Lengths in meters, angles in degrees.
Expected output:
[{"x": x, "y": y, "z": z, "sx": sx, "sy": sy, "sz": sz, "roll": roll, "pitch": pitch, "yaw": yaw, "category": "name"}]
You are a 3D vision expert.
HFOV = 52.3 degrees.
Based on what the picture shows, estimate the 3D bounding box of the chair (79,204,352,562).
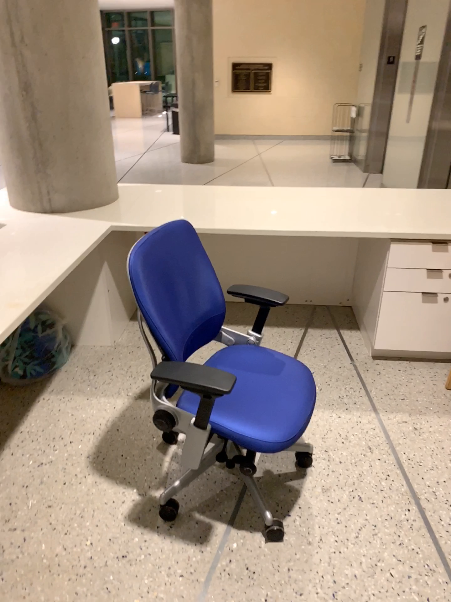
[{"x": 0.029, "y": 0.209, "z": 1.601, "sx": 0.647, "sy": 0.880, "sz": 0.690, "roll": 8, "pitch": 27, "yaw": 16, "category": "chair"}]
